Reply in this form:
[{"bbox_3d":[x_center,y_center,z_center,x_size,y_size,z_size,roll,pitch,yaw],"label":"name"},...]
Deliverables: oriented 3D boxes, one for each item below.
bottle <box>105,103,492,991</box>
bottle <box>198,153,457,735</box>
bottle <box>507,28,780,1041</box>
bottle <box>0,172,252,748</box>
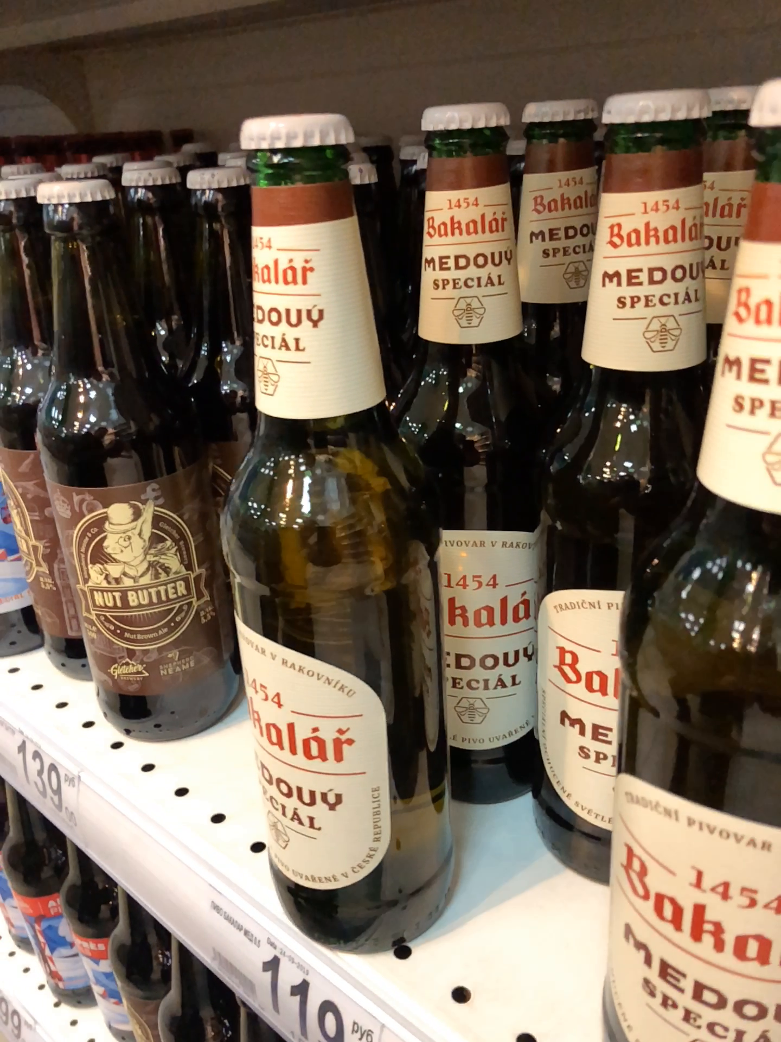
[{"bbox_3d":[-0.019,0.014,0.264,0.066,0.249,0.070,-3,24,1],"label":"bottle"},{"bbox_3d":[-0.020,-0.031,0.374,0.069,0.231,0.061,18,32,40],"label":"bottle"},{"bbox_3d":[0.071,0.036,0.194,0.061,0.249,0.065,-3,24,1],"label":"bottle"},{"bbox_3d":[-0.111,-0.019,0.367,0.069,0.233,0.061,-3,24,1],"label":"bottle"}]
